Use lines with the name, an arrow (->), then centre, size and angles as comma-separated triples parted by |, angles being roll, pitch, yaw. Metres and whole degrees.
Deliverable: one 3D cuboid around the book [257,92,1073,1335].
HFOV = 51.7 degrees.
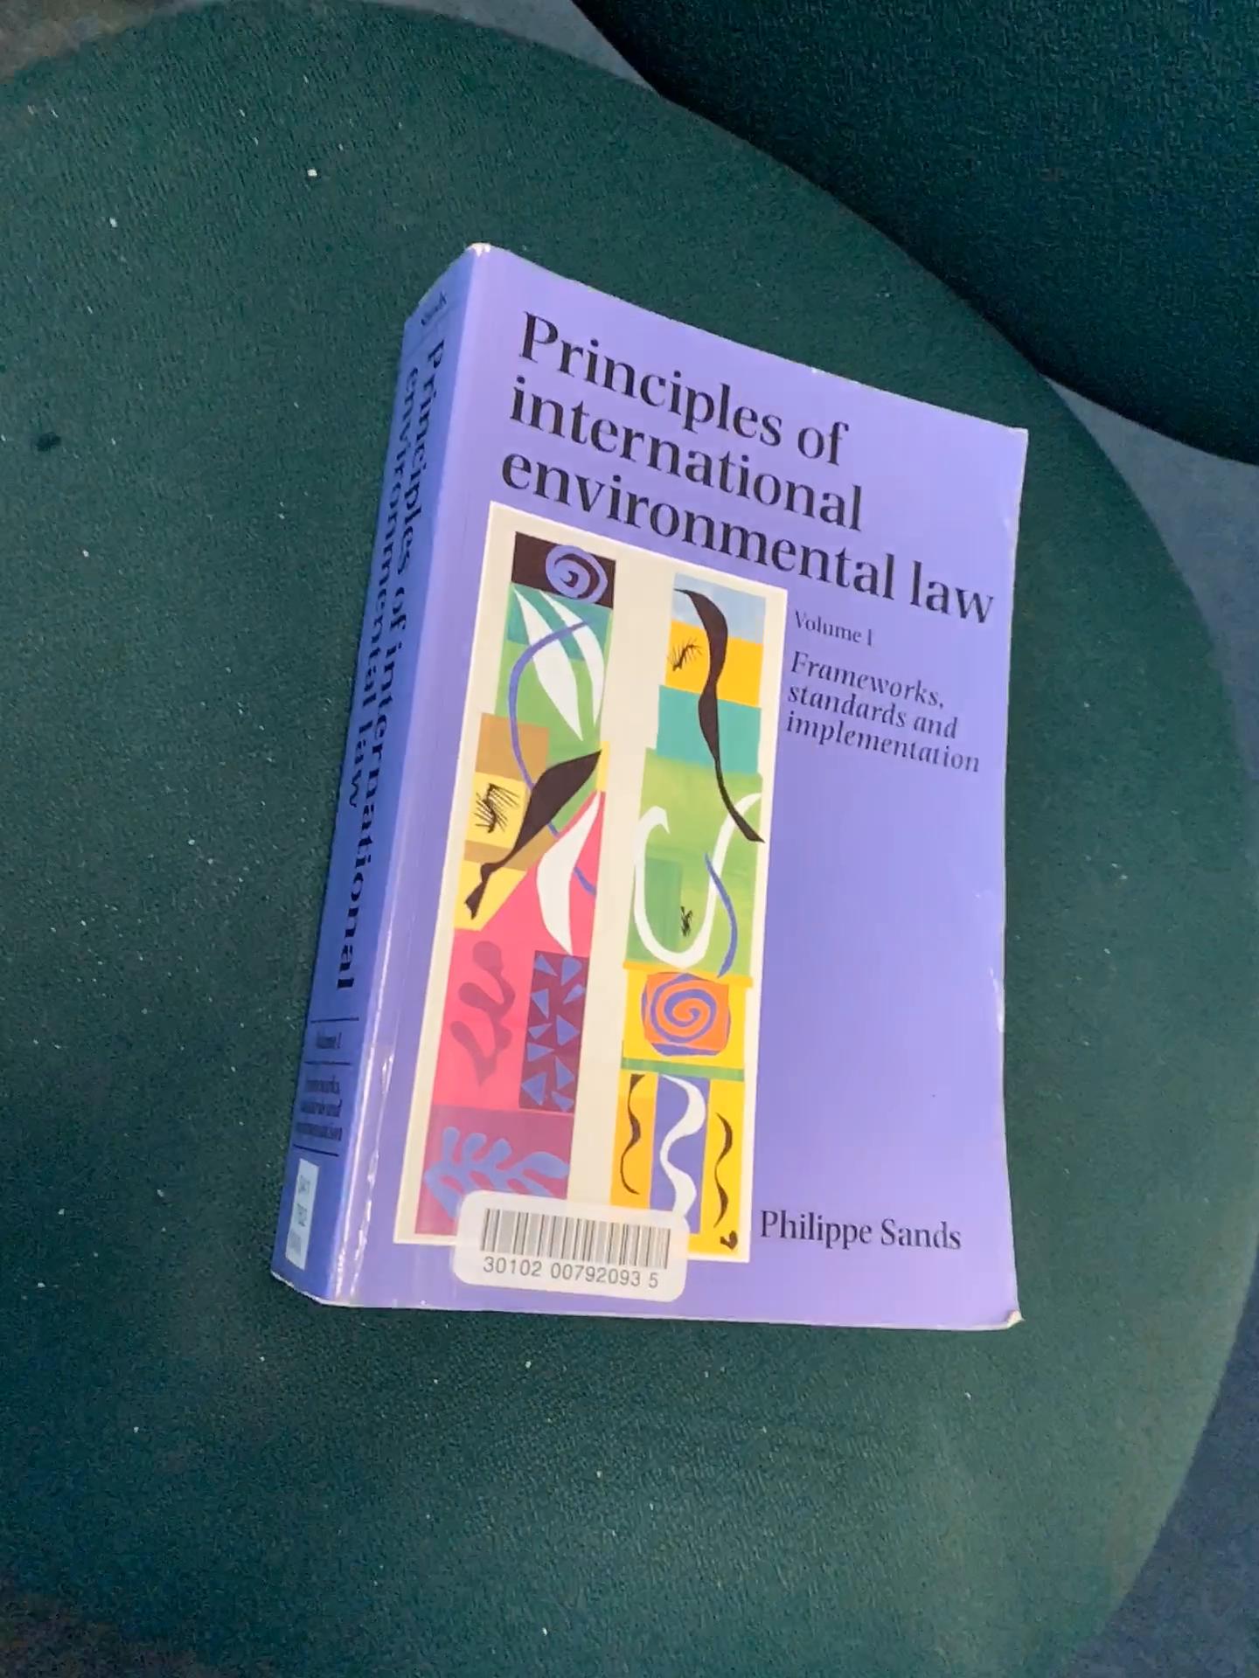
book -> 0.021, -0.024, 0.326 | 0.181, 0.050, 0.271 | 10, 75, -22
